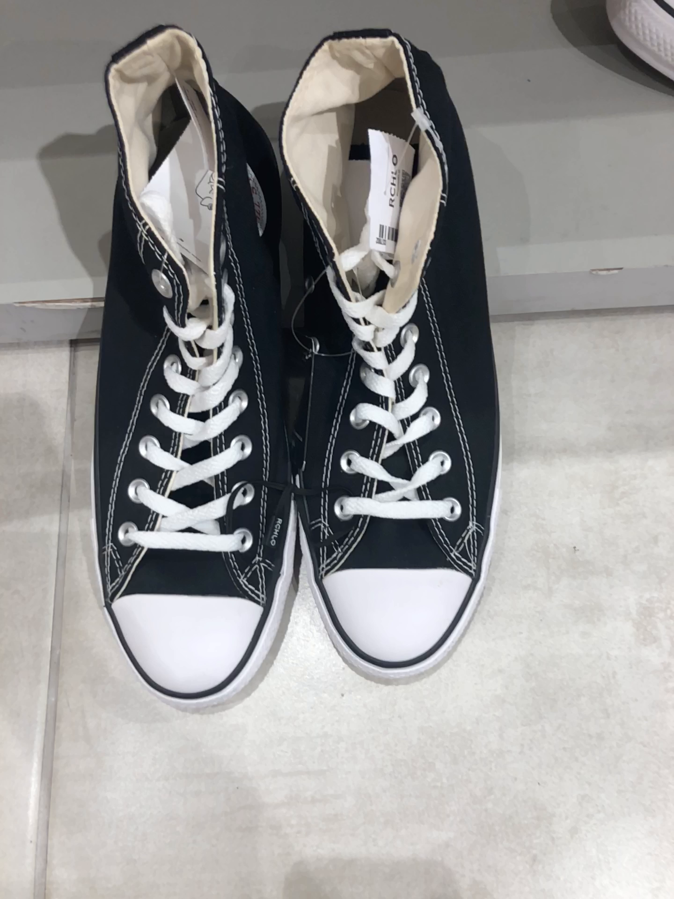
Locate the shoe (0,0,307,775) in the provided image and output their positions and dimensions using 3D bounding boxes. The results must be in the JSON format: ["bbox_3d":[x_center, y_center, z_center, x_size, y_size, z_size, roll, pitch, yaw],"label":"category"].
[{"bbox_3d":[-0.080,-0.032,0.354,0.120,0.140,0.310,0,94,1],"label":"shoe"}]

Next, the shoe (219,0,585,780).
[{"bbox_3d":[0.027,-0.048,0.338,0.120,0.140,0.330,-2,94,1],"label":"shoe"}]
